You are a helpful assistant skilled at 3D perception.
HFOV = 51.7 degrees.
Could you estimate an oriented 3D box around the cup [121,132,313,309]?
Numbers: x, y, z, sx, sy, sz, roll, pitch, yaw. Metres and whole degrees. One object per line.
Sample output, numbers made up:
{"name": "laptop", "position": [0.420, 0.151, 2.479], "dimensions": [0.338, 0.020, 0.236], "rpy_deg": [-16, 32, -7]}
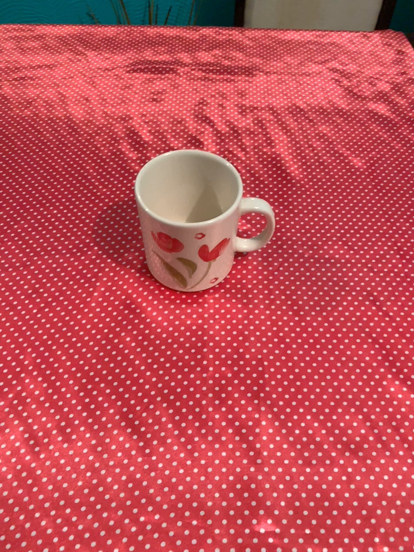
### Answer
{"name": "cup", "position": [0.001, -0.041, 0.327], "dimensions": [0.120, 0.090, 0.090], "rpy_deg": [-4, 56, -5]}
